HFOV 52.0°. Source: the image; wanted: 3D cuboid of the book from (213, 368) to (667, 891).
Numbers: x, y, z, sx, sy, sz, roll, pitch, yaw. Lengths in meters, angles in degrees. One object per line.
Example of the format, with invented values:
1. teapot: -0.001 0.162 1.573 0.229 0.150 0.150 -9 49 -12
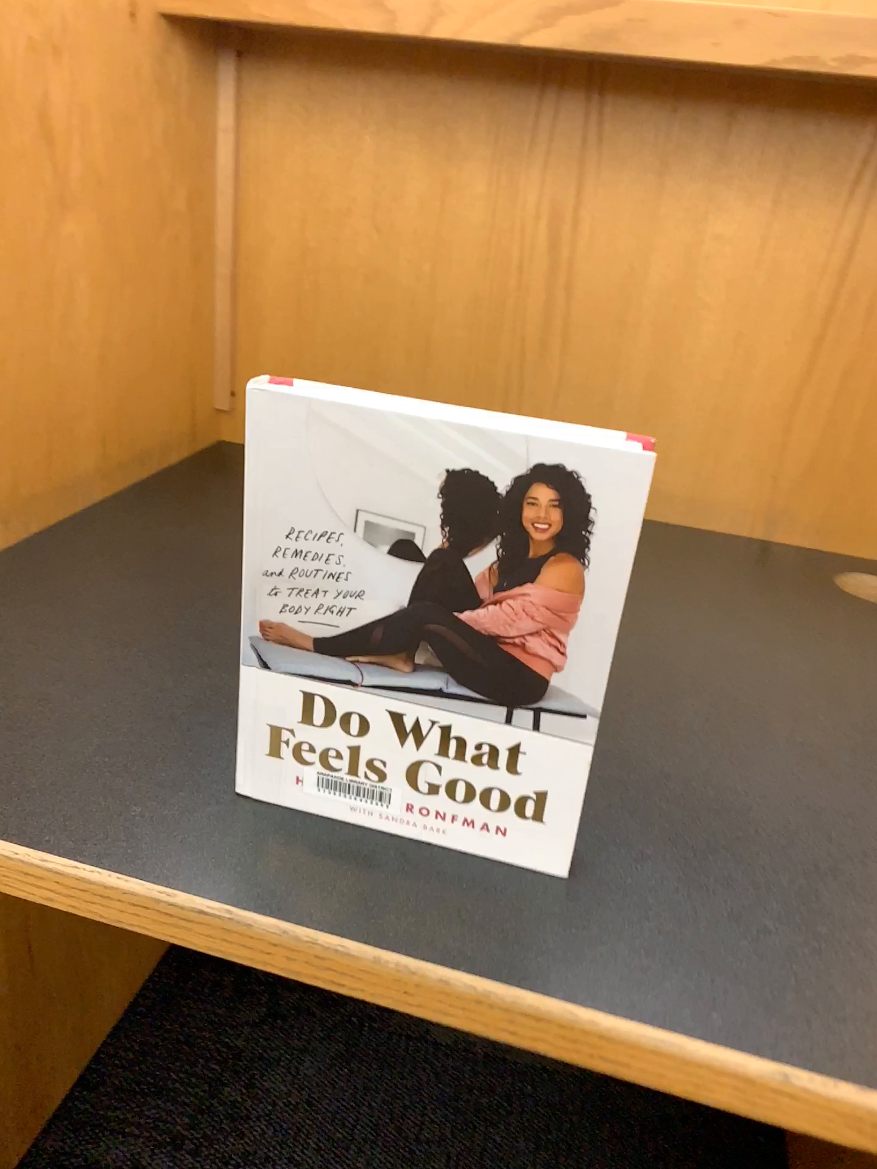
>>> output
1. book: -0.013 0.029 0.471 0.210 0.249 0.030 11 24 9
